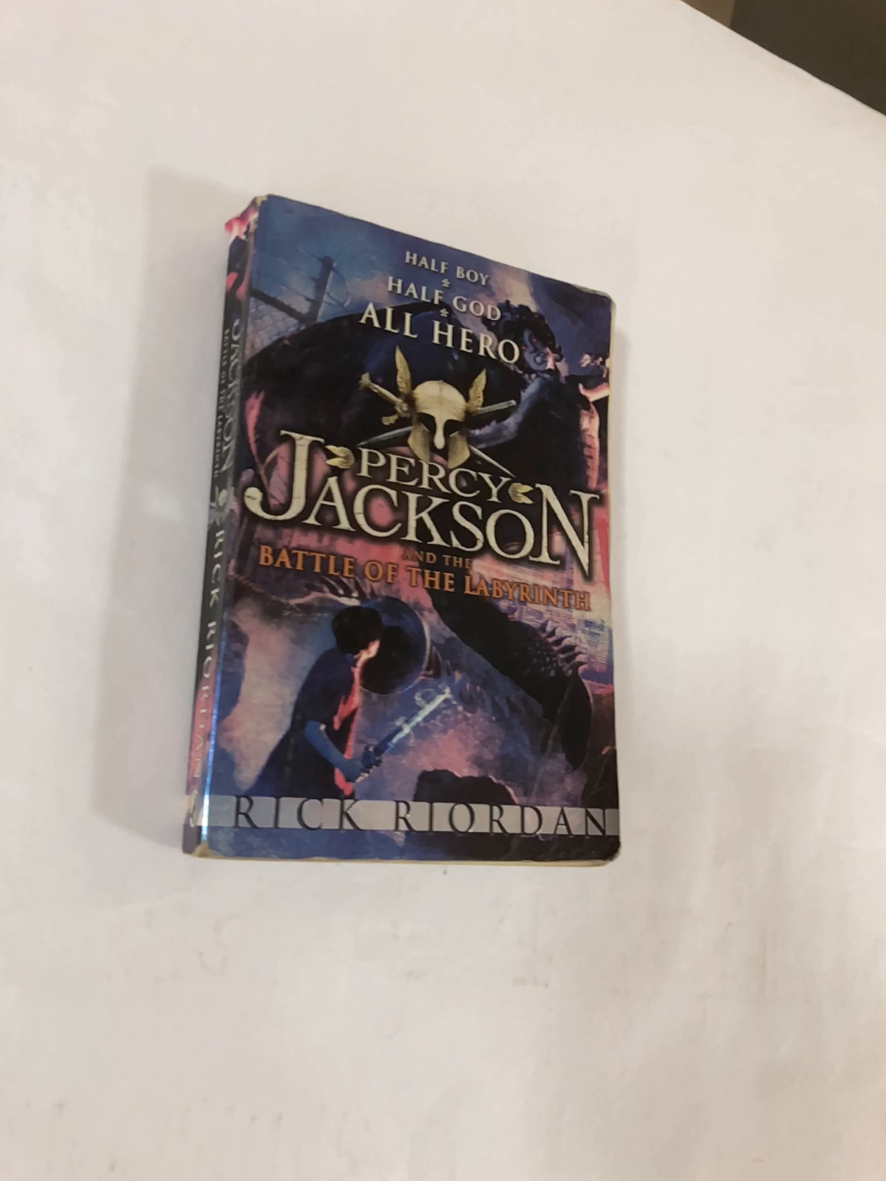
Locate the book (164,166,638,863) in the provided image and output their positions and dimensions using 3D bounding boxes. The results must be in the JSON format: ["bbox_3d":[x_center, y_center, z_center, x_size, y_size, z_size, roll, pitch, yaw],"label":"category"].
[{"bbox_3d":[-0.007,-0.016,0.303,0.130,0.040,0.190,8,75,-26],"label":"book"}]
